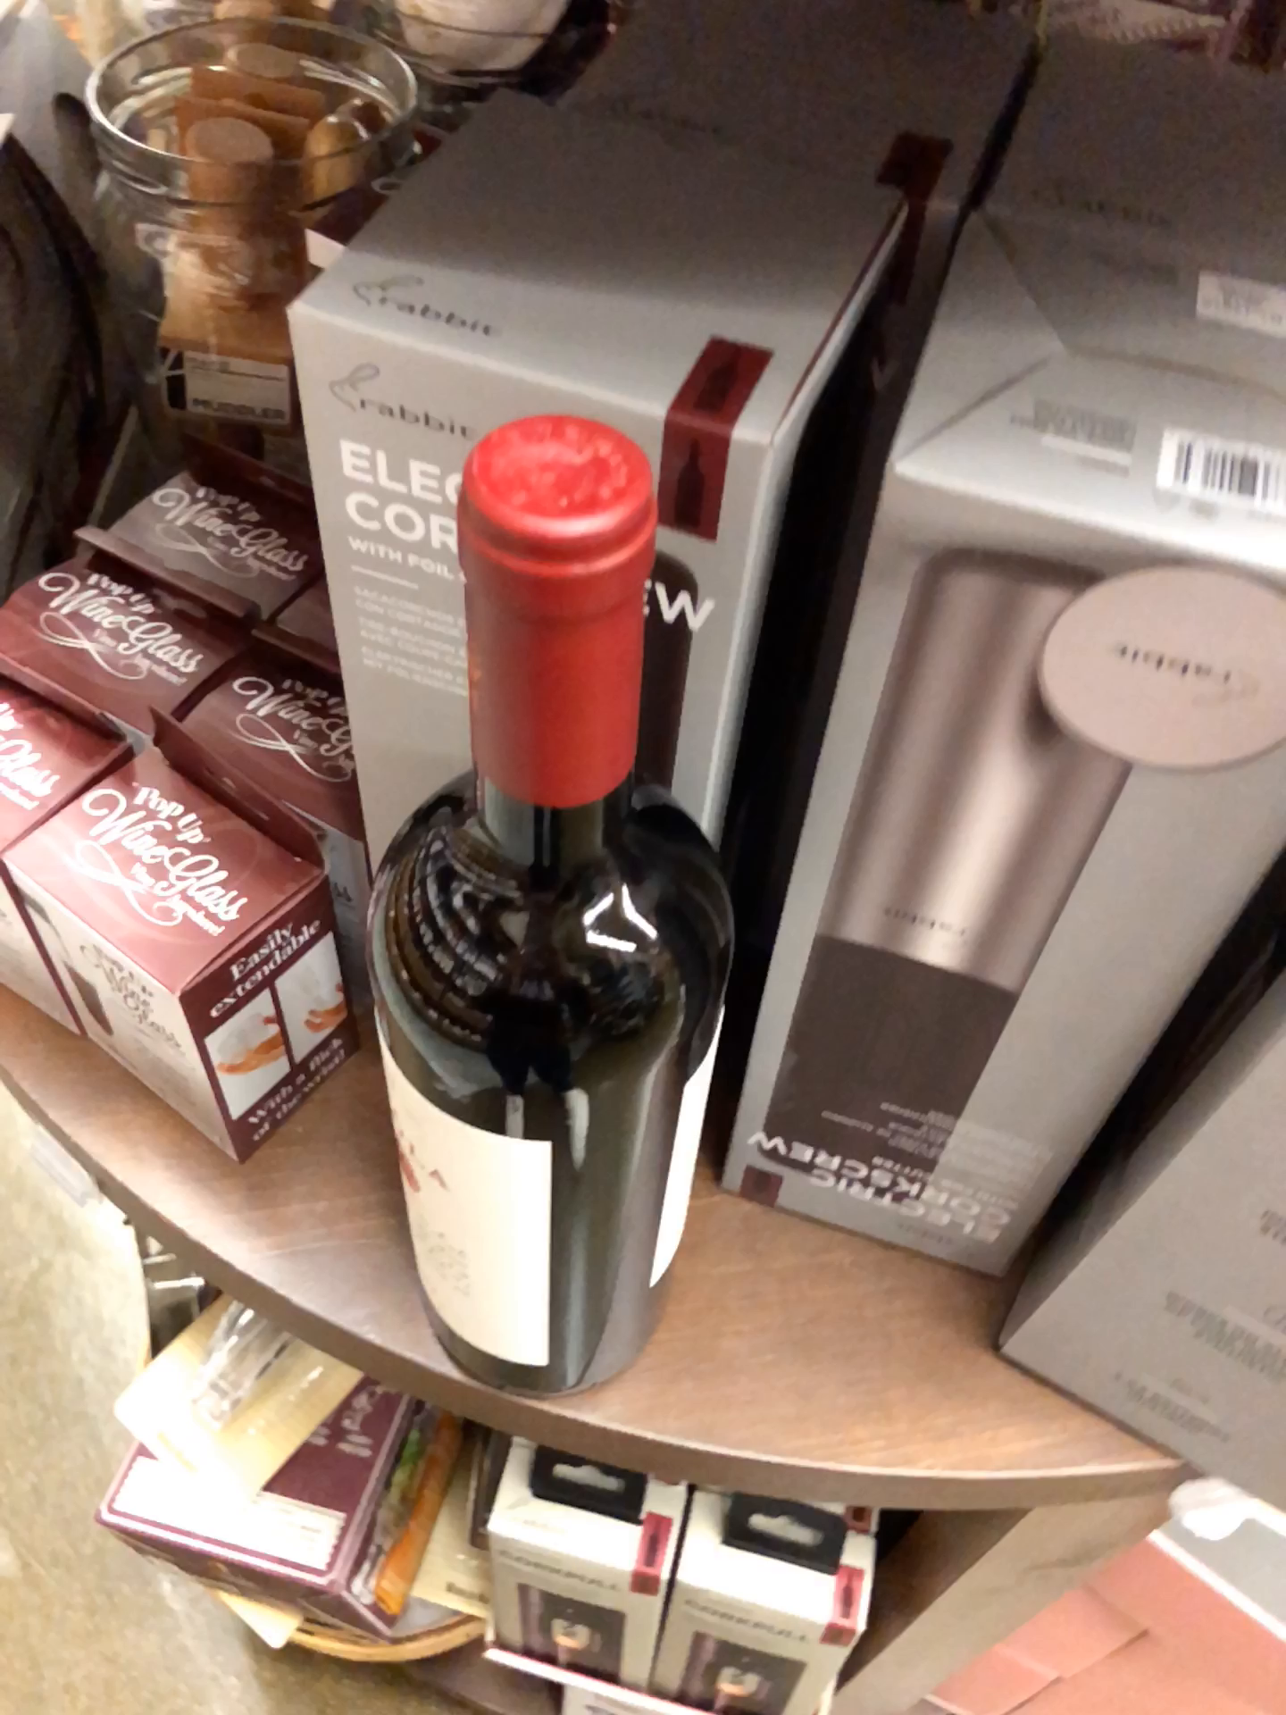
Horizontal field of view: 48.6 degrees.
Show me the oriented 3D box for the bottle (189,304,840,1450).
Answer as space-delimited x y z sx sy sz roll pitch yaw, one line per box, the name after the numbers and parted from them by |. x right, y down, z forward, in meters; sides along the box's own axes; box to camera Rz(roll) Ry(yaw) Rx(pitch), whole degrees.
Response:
-0.026 0.037 0.307 0.072 0.285 0.076 1 52 -2 | bottle
